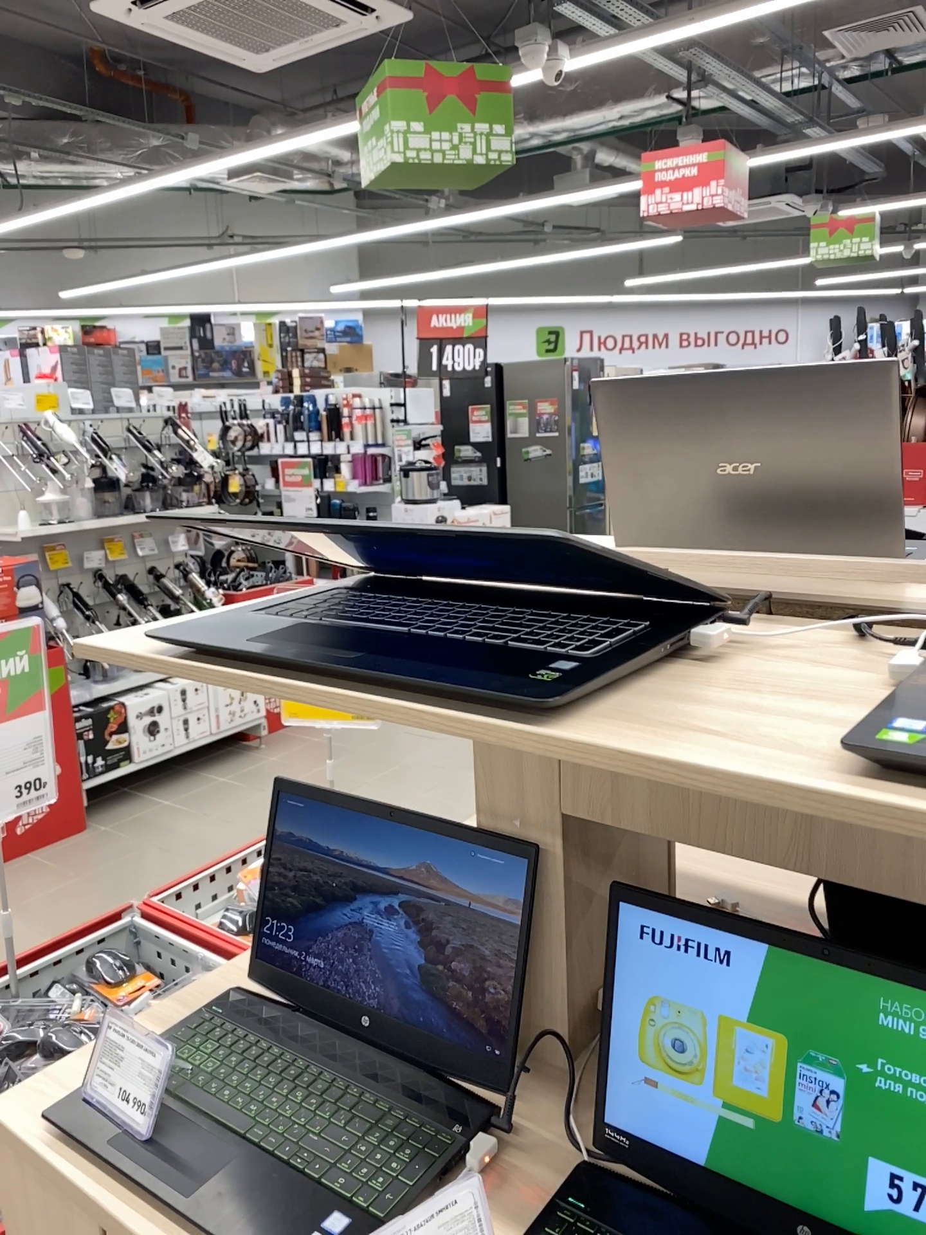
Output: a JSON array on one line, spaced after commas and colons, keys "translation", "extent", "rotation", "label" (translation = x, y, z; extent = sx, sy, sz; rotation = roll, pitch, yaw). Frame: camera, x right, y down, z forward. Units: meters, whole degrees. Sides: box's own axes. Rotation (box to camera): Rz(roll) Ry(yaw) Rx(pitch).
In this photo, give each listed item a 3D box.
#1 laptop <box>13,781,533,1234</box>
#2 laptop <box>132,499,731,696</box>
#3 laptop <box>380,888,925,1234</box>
[{"translation": [-0.164, 0.340, 0.881], "extent": [0.344, 0.220, 0.314], "rotation": [7, 13, 35], "label": "laptop"}, {"translation": [-0.029, -0.039, 0.769], "extent": [0.404, 0.084, 0.271], "rotation": [5, 15, 37], "label": "laptop"}, {"translation": [0.188, 0.377, 0.597], "extent": [0.354, 0.226, 0.299], "rotation": [5, 13, 37], "label": "laptop"}]
